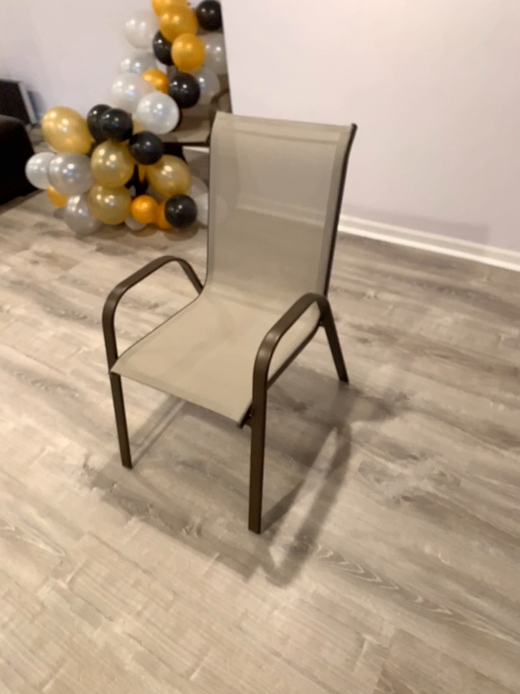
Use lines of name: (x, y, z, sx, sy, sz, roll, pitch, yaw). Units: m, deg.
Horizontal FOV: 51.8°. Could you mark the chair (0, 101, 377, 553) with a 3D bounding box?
chair: (-0.106, -0.085, 1.473, 0.565, 0.873, 0.719, 18, 45, 25)
